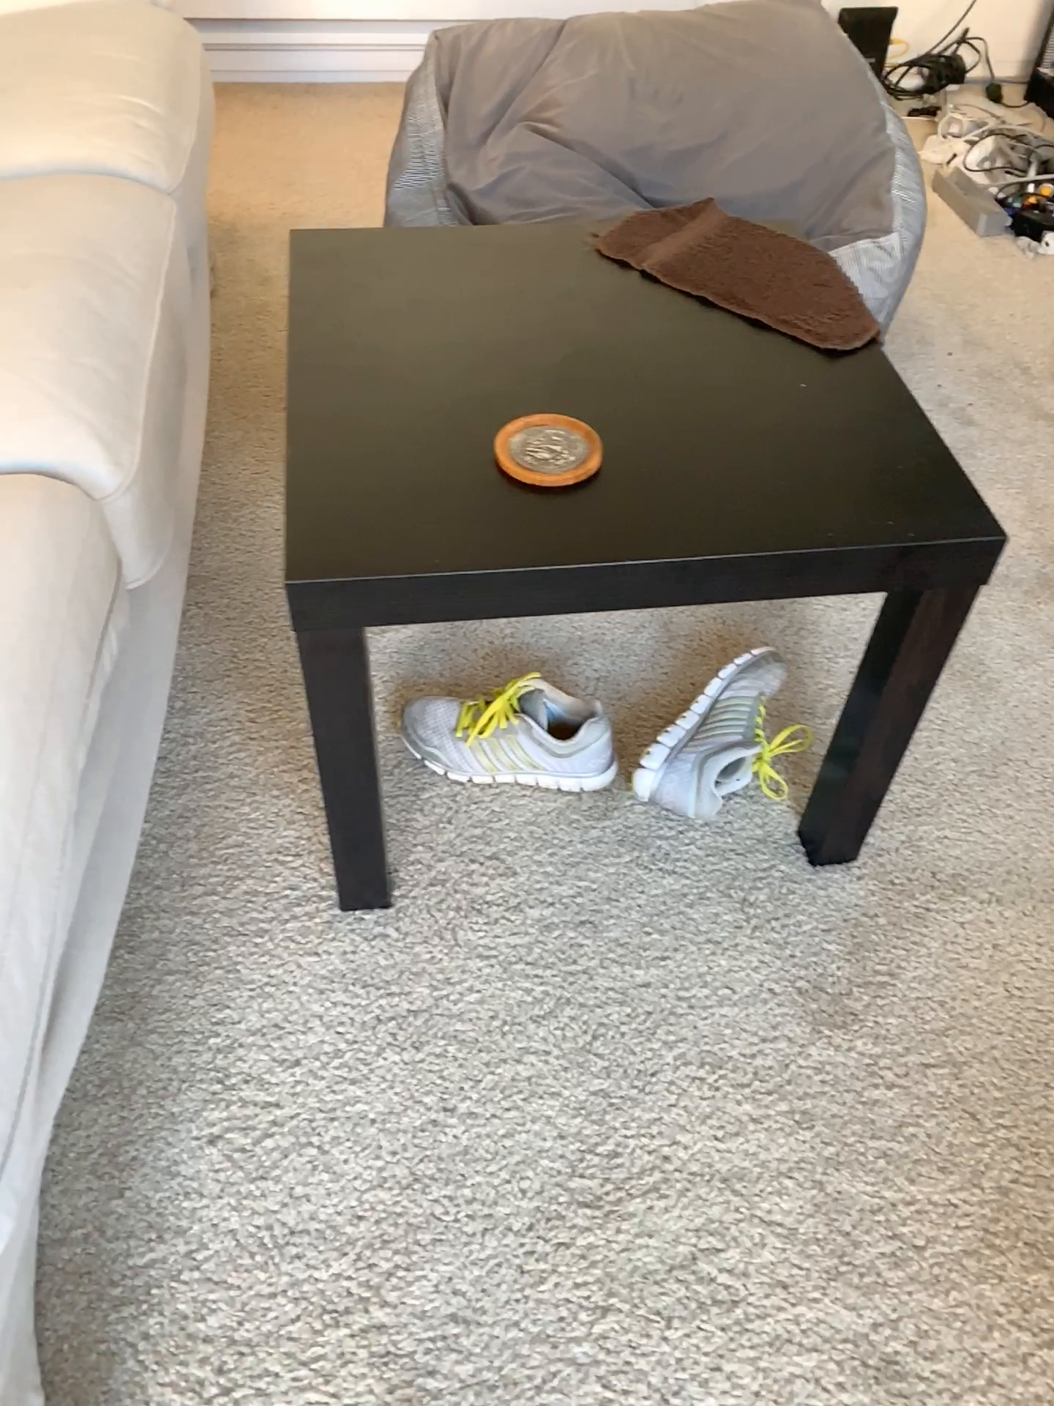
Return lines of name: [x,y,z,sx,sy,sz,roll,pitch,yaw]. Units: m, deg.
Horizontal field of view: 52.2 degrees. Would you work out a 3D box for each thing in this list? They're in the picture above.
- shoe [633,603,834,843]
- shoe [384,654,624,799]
shoe: [0.219,0.014,1.133,0.100,0.090,0.251,24,51,25]
shoe: [-0.024,0.026,1.197,0.250,0.099,0.090,6,48,2]
